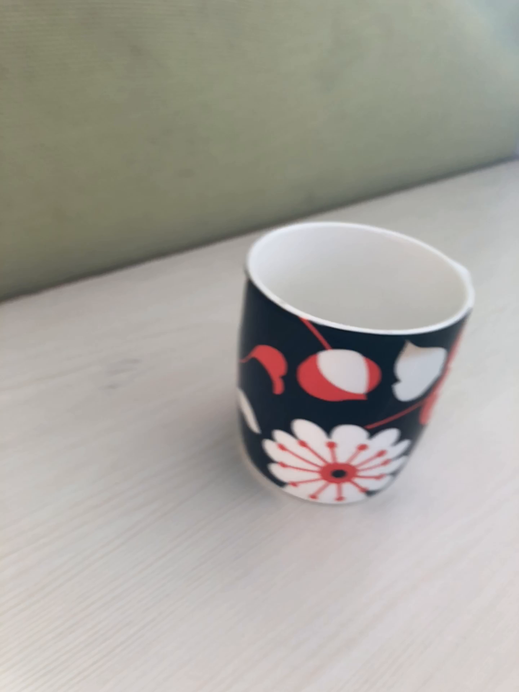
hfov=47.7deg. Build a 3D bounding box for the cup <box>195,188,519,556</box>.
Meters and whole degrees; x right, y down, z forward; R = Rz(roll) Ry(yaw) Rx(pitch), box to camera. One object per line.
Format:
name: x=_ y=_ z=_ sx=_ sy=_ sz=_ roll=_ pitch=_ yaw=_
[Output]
cup: x=0.048 y=-0.001 z=0.257 sx=0.090 sy=0.089 sz=0.121 roll=28 pitch=39 yaw=30
